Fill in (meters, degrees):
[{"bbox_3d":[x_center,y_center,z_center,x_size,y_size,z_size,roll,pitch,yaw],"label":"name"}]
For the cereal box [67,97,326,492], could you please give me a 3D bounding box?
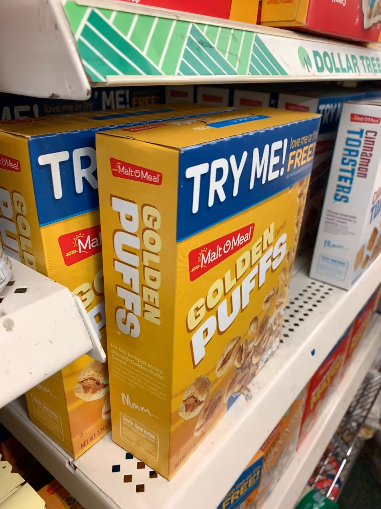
[{"bbox_3d":[0.017,0.011,0.290,0.060,0.219,0.191,19,31,31],"label":"cereal box"}]
